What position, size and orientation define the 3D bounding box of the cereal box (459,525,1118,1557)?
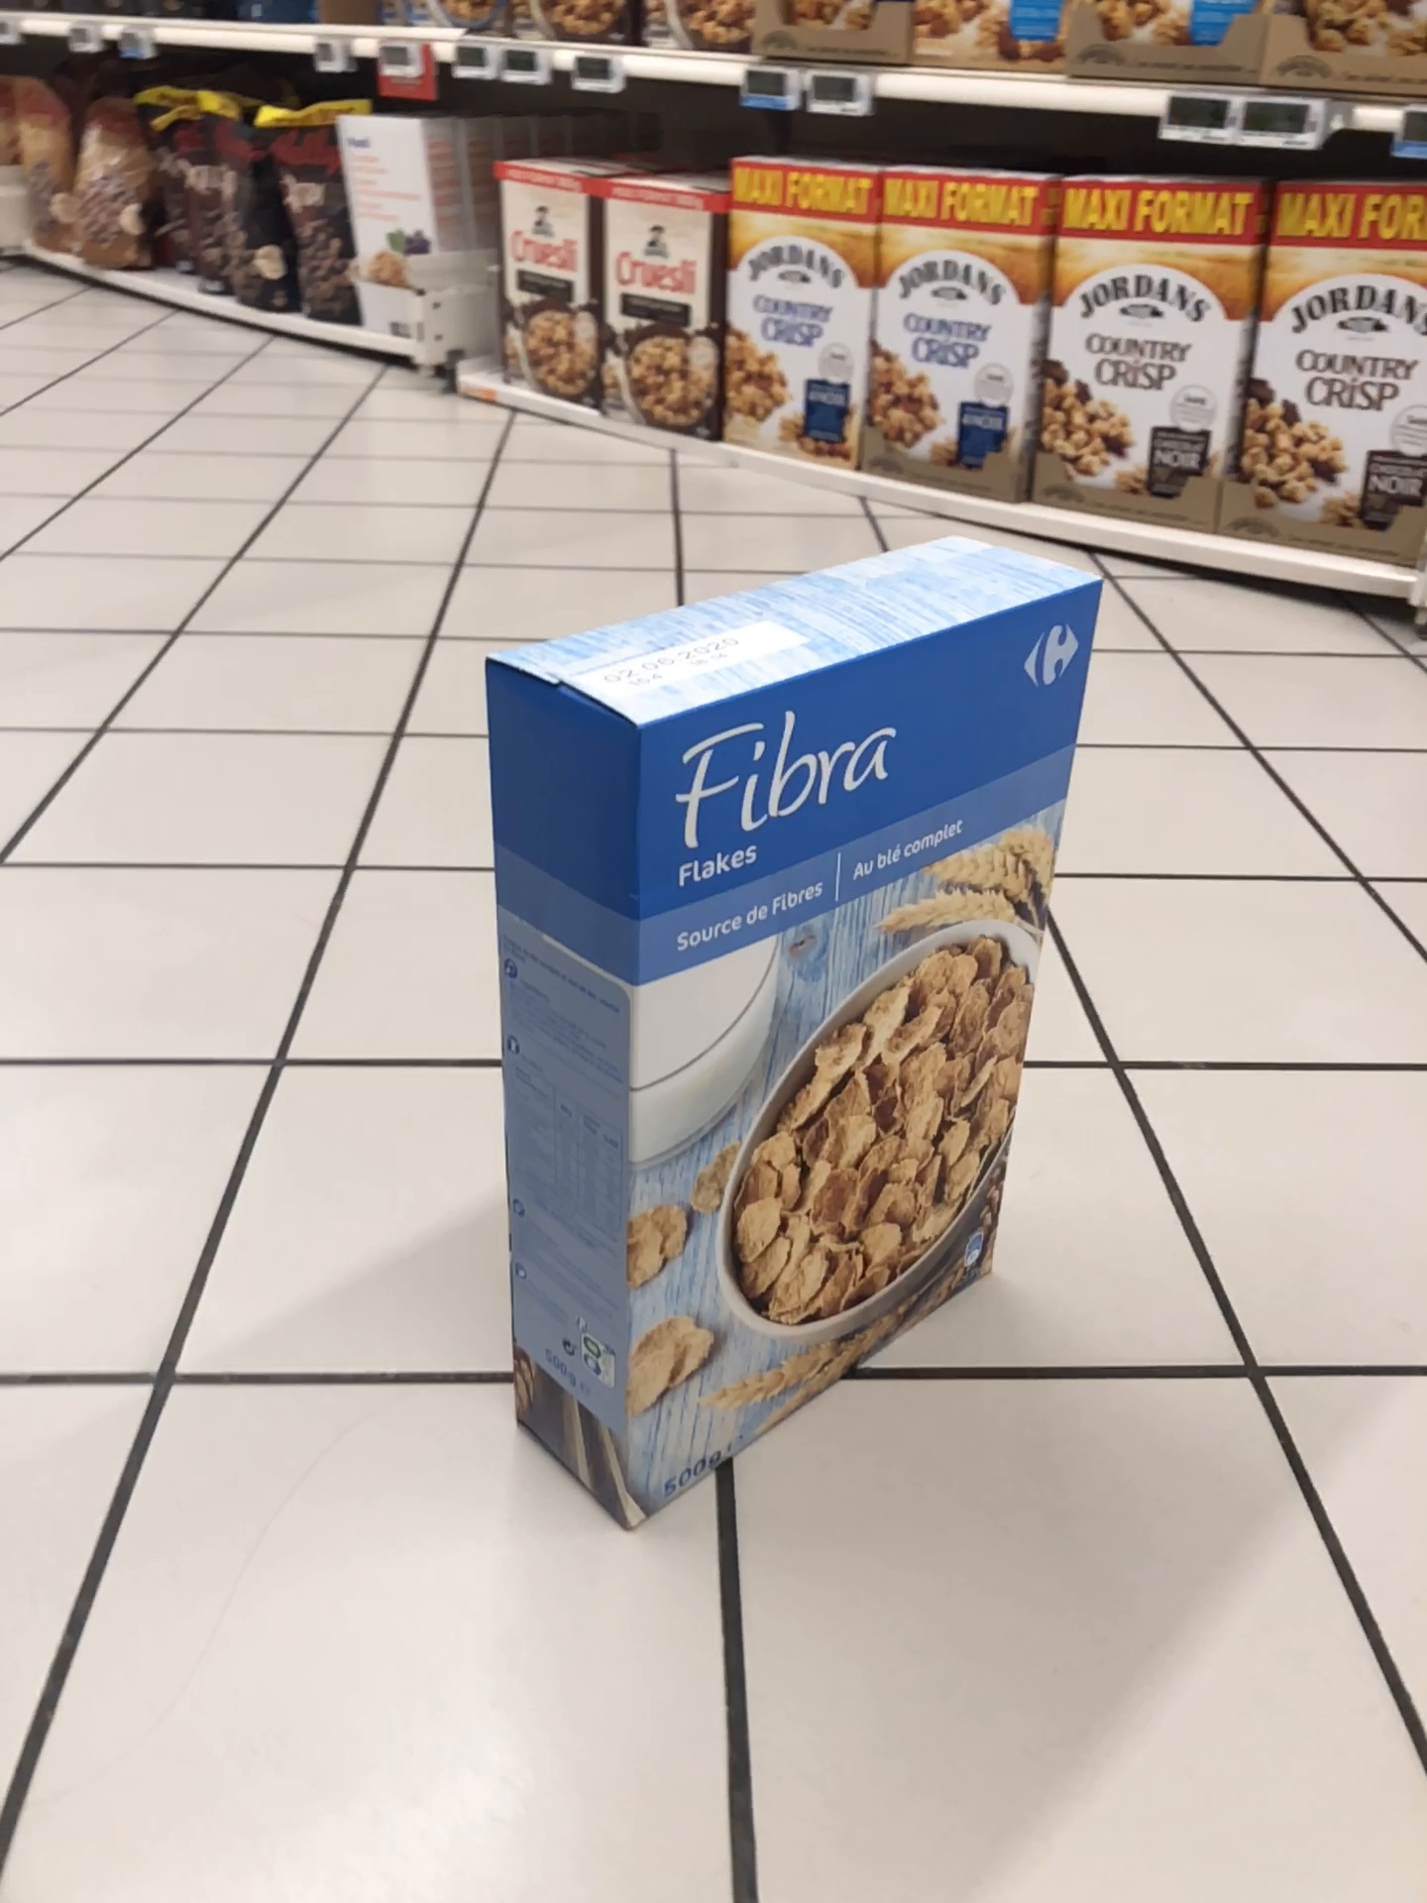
[{"bbox_3d":[0.025,0.026,0.522,0.201,0.288,0.070,-24,38,-38],"label":"cereal box"}]
